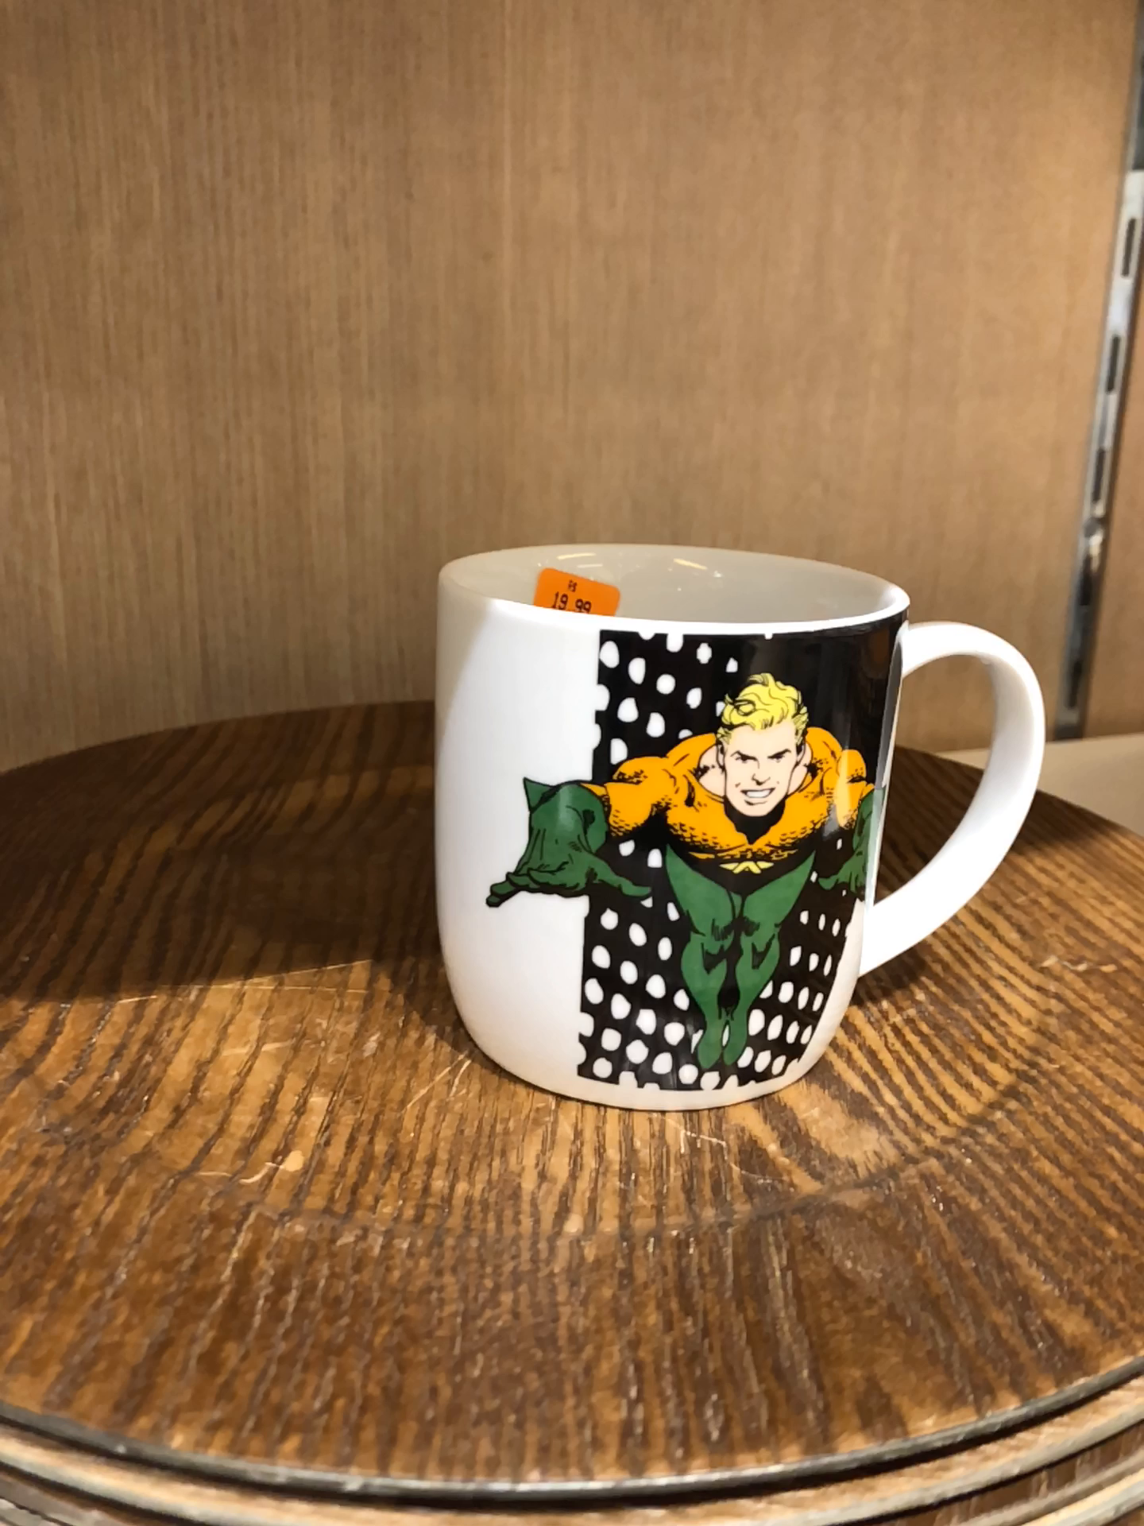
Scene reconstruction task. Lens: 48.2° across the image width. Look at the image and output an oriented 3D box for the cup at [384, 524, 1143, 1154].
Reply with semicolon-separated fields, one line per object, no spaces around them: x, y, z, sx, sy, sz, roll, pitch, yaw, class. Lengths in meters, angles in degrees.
0.030;0.004;0.252;0.120;0.090;0.090;-4;17;-15;cup
